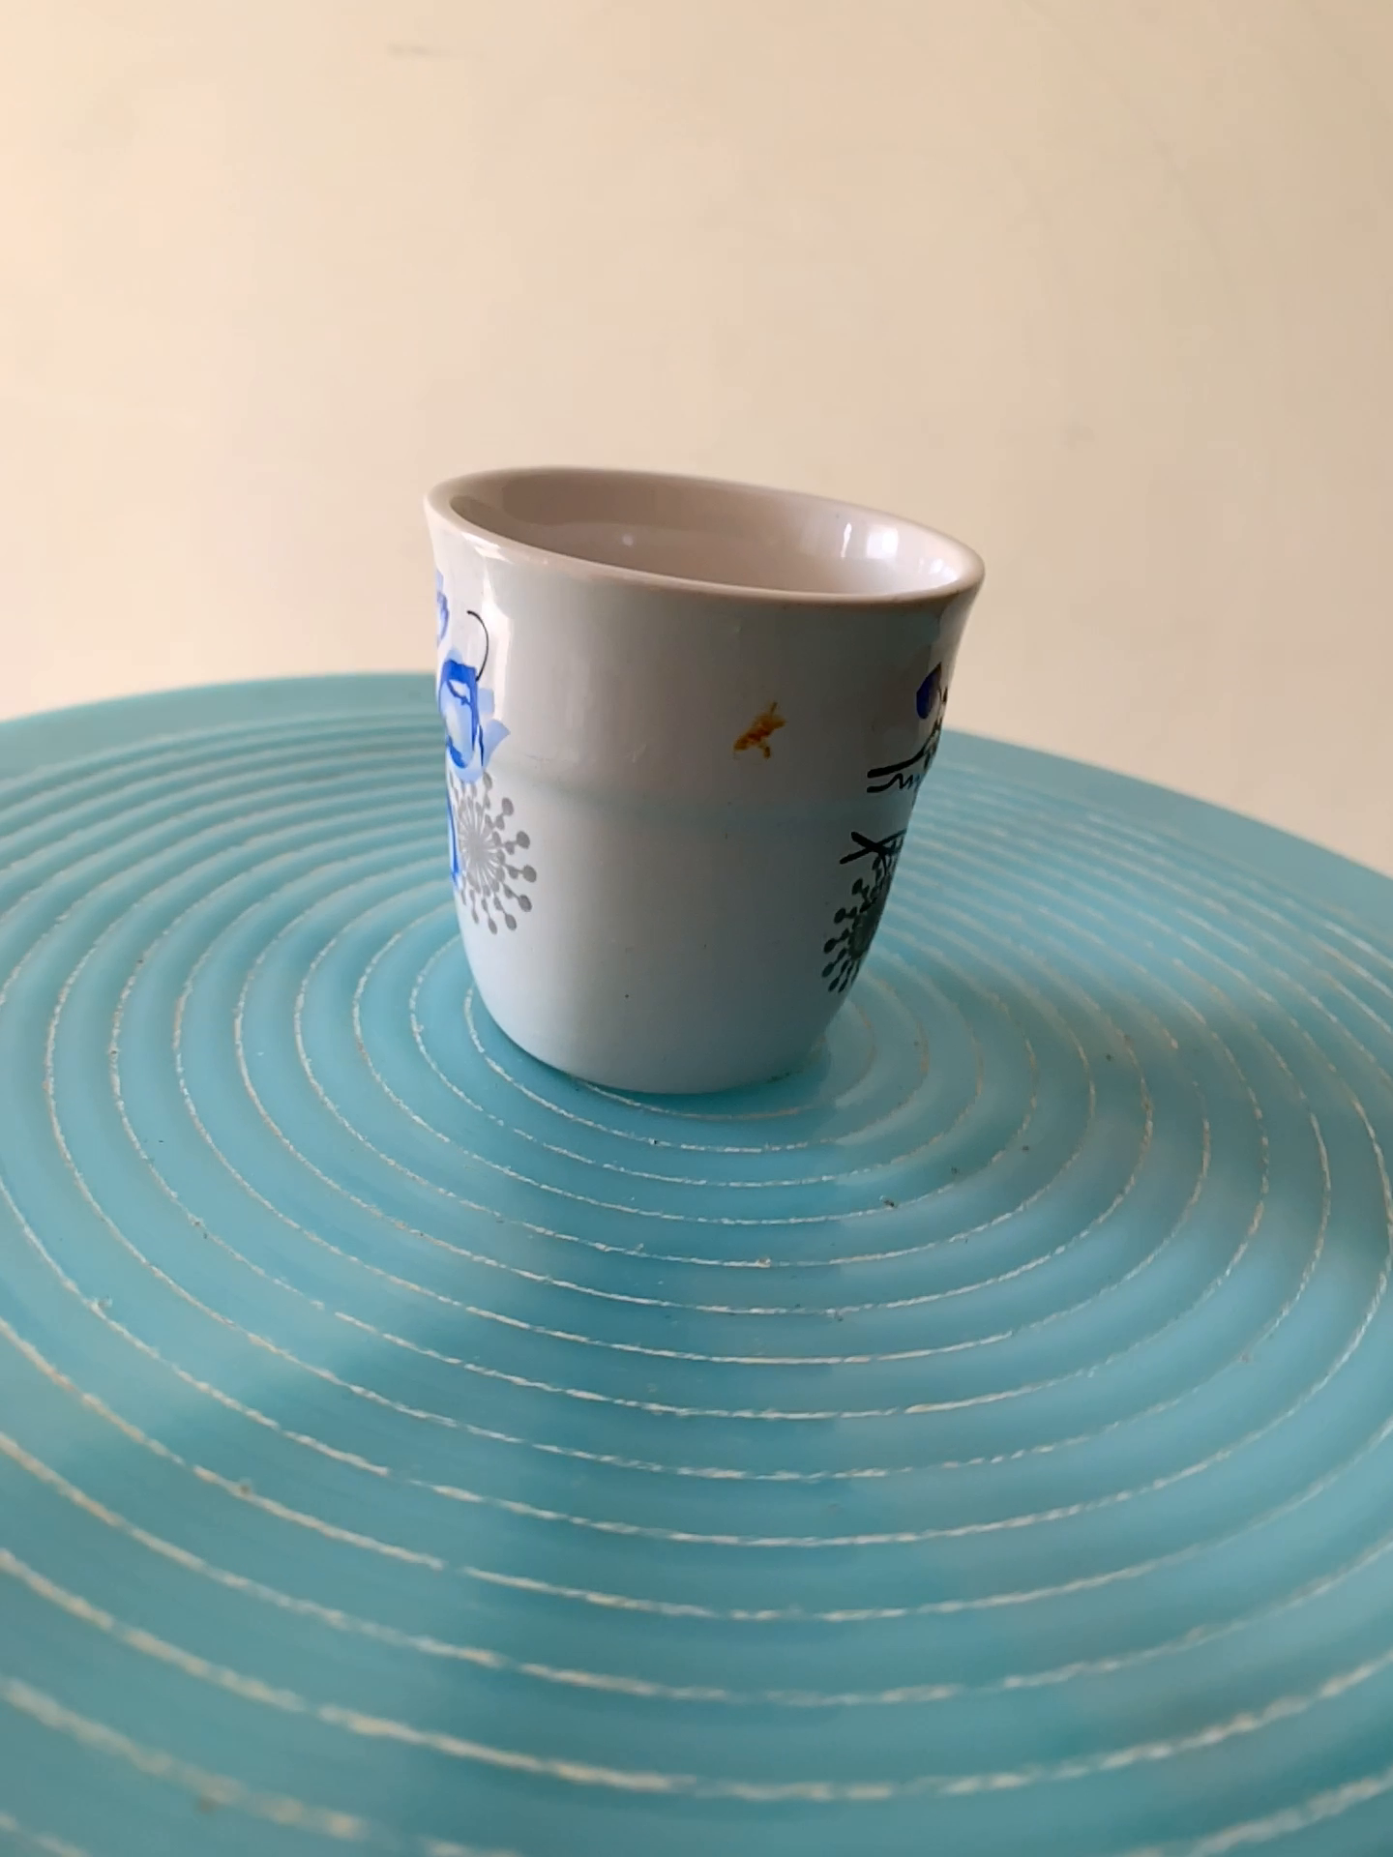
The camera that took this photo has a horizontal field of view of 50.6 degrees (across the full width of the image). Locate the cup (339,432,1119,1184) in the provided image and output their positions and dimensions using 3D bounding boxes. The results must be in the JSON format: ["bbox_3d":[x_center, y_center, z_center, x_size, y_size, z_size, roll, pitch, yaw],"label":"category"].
[{"bbox_3d":[0.001,-0.022,0.186,0.070,0.060,0.091,6,25,-2],"label":"cup"}]
